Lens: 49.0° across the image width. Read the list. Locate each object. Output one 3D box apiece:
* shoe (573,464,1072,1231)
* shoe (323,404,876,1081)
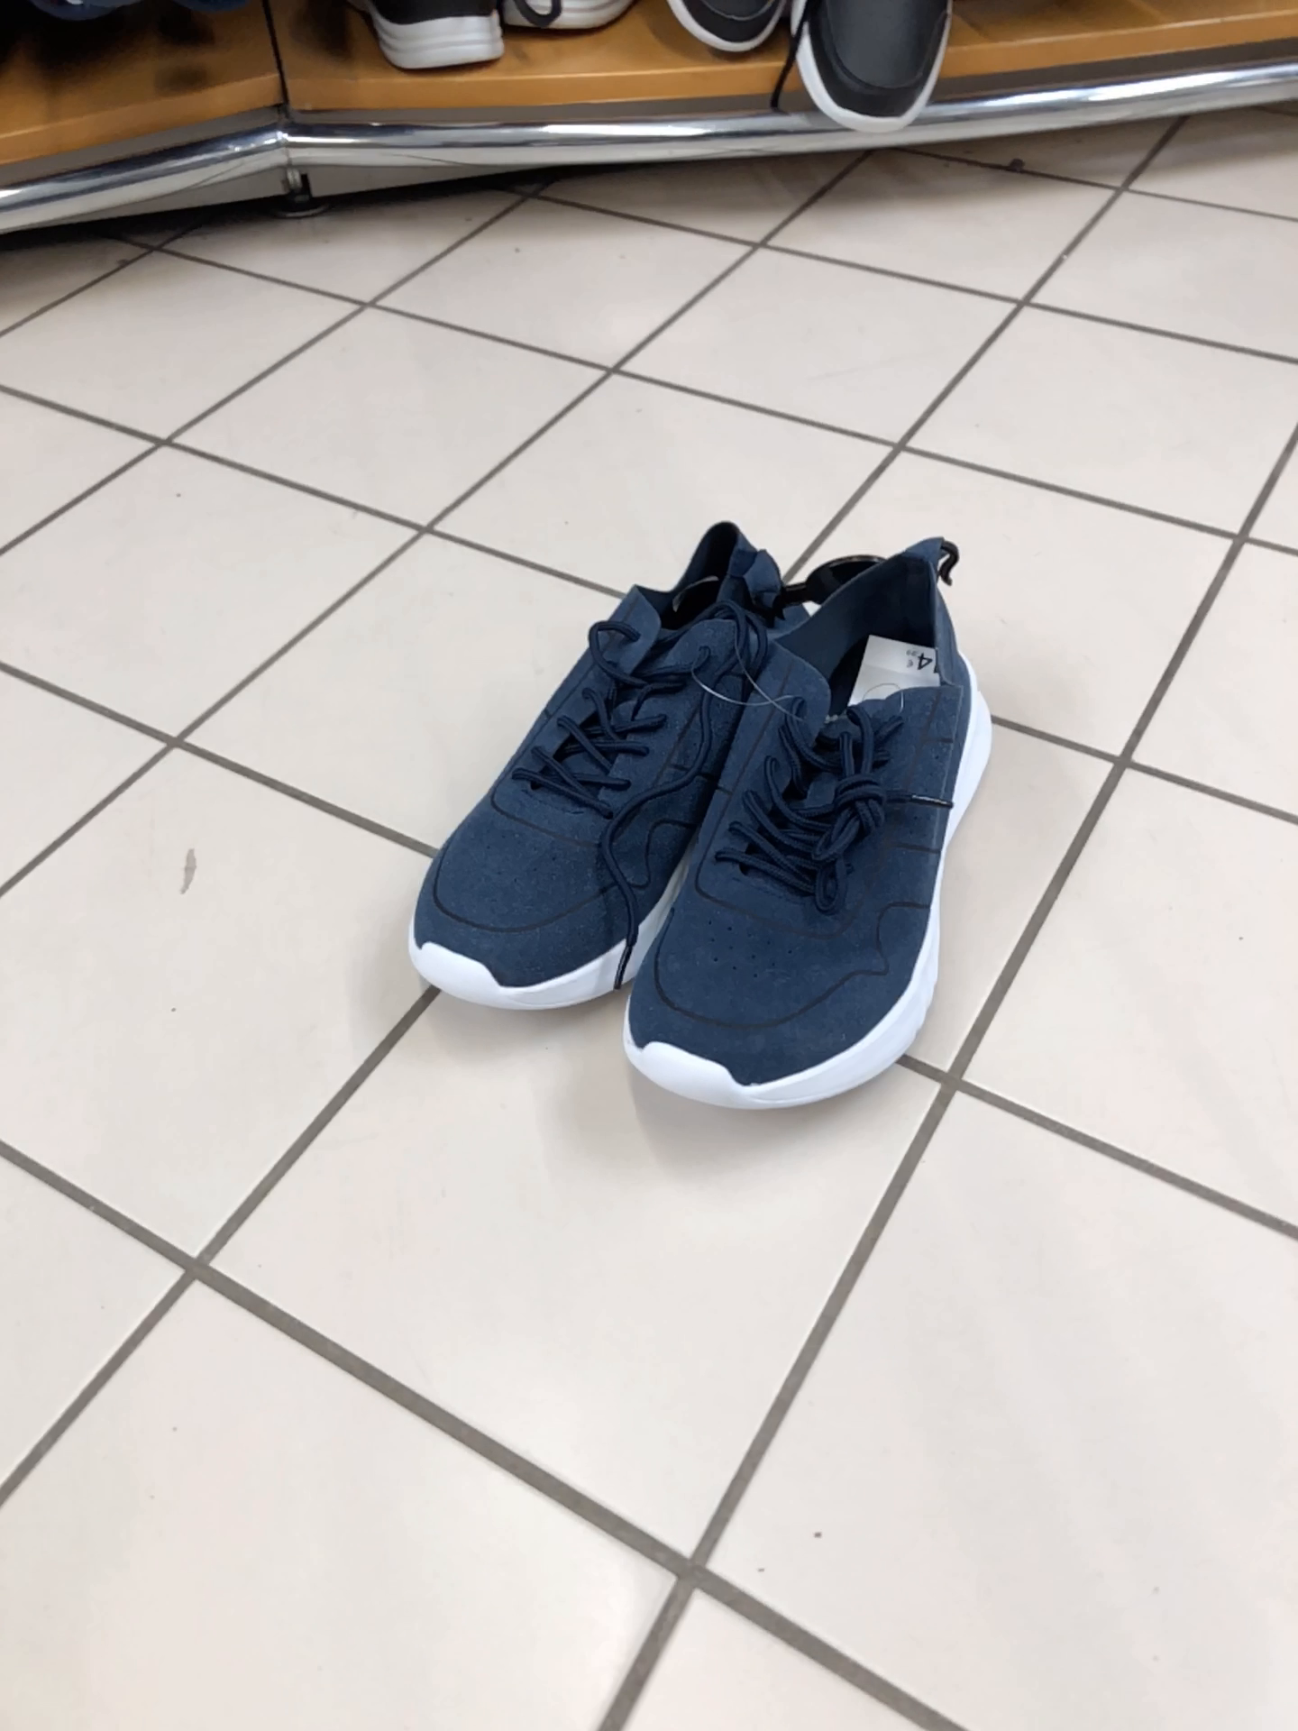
[{"bbox_3d":[0.080,-0.024,0.568,0.100,0.119,0.292,15,50,16],"label":"shoe"},{"bbox_3d":[-0.003,-0.067,0.608,0.100,0.109,0.292,18,50,19],"label":"shoe"}]
